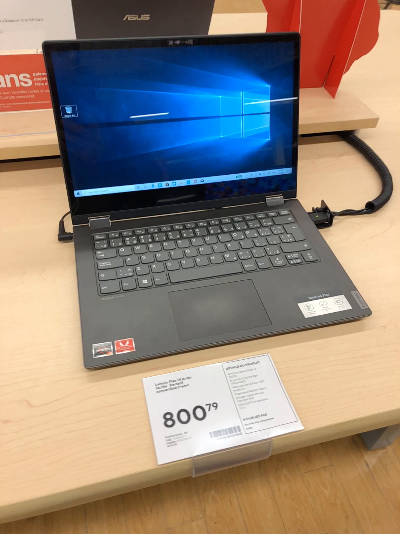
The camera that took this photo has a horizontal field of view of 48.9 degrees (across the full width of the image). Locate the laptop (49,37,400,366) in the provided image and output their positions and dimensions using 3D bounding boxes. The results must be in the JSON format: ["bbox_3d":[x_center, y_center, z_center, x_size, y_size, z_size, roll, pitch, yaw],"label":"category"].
[{"bbox_3d":[0.011,-0.100,0.508,0.319,0.198,0.307,-8,47,-12],"label":"laptop"}]
